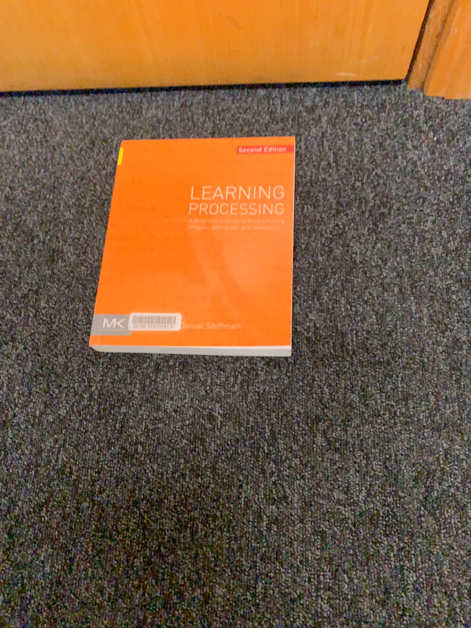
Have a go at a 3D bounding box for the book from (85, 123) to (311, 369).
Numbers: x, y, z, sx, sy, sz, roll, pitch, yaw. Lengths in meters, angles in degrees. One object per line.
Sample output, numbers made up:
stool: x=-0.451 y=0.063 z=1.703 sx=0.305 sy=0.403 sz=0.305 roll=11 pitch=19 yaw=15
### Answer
book: x=-0.029 y=-0.077 z=0.506 sx=0.210 sy=0.040 sz=0.261 roll=1 pitch=70 yaw=6
